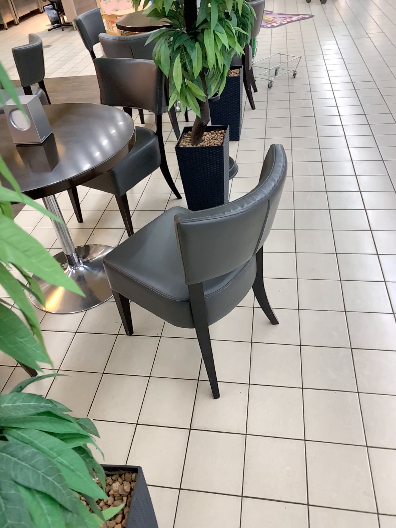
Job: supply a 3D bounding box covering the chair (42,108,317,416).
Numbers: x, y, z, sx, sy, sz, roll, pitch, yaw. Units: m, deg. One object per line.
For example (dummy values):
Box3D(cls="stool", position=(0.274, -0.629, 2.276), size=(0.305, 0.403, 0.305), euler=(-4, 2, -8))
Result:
Box3D(cls="chair", position=(-0.023, -0.034, 1.482), size=(0.642, 0.796, 0.551), euler=(25, 50, 33))
